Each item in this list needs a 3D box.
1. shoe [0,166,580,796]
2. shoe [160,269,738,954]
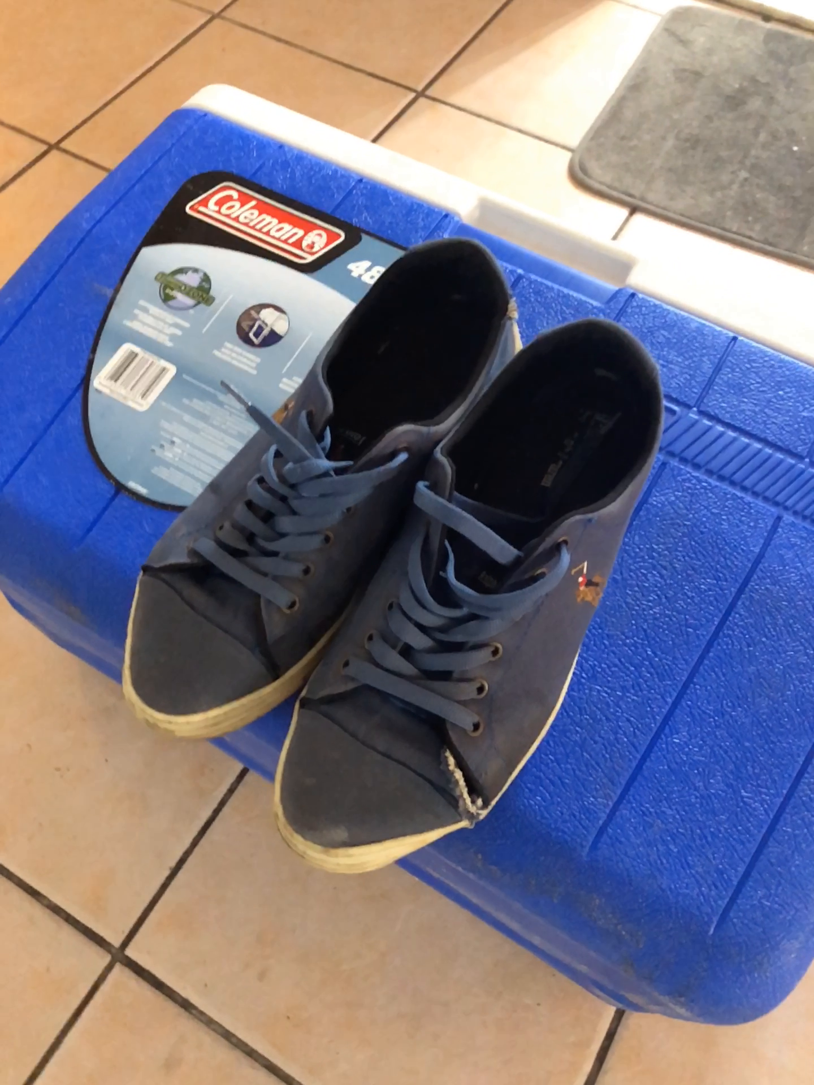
[{"bbox_3d":[-0.044,-0.034,0.416,0.107,0.090,0.271,33,72,18],"label":"shoe"},{"bbox_3d":[0.030,0.019,0.392,0.107,0.090,0.271,27,66,15],"label":"shoe"}]
